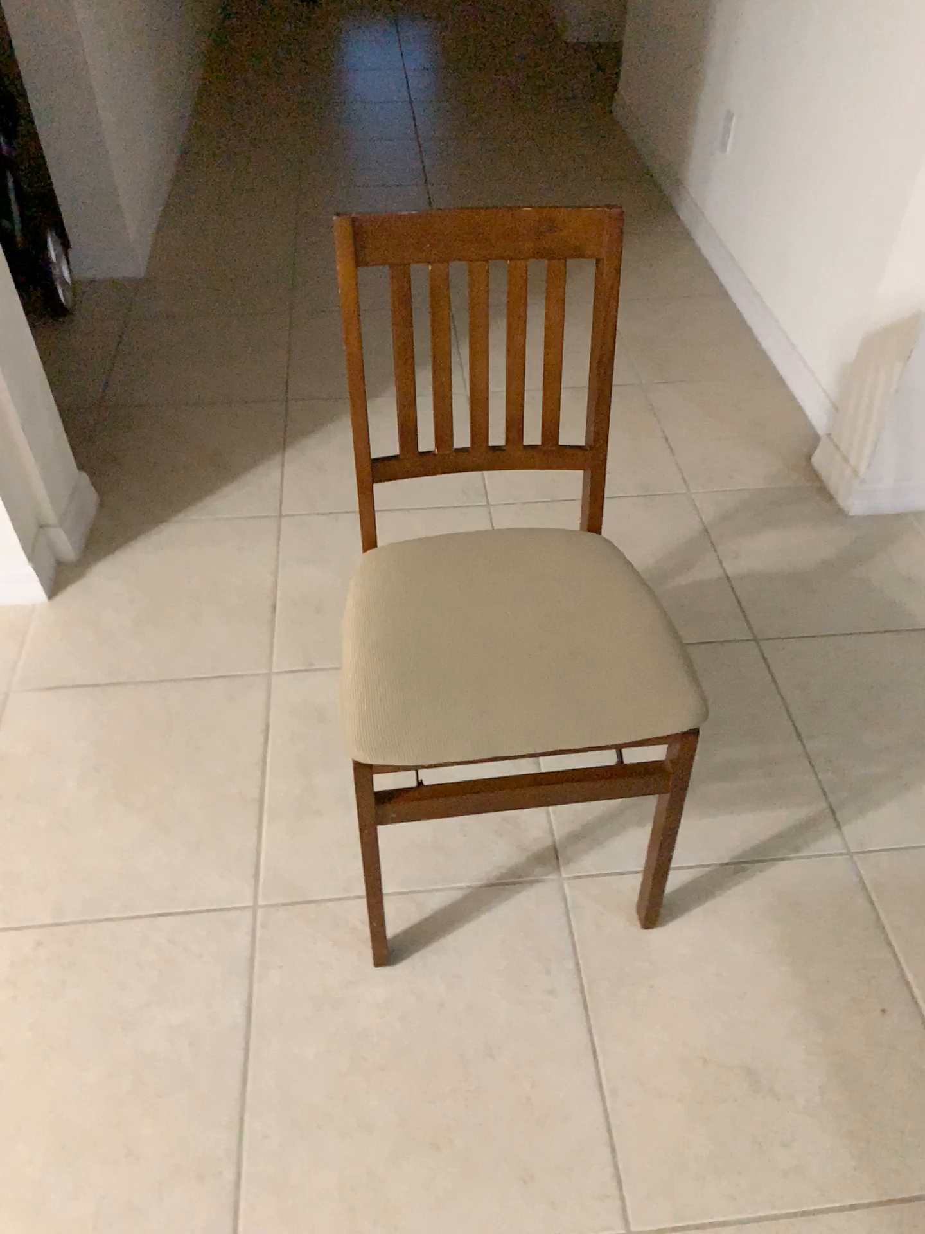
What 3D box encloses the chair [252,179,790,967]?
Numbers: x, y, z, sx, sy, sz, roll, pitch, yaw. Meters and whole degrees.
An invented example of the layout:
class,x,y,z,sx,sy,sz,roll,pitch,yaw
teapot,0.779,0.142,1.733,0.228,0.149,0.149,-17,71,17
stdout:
class,x,y,z,sx,sy,sz,roll,pitch,yaw
chair,0.019,-0.028,1.299,0.450,0.881,0.596,-4,45,-5
